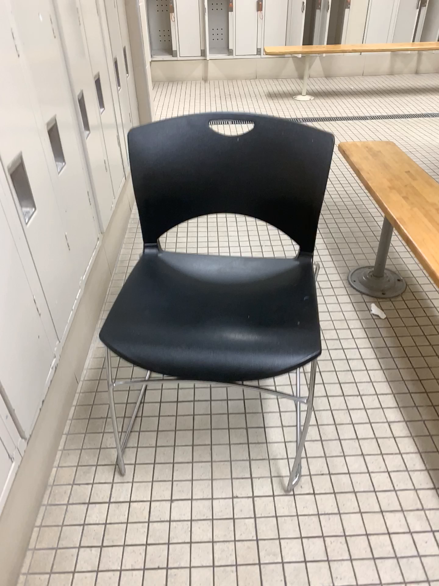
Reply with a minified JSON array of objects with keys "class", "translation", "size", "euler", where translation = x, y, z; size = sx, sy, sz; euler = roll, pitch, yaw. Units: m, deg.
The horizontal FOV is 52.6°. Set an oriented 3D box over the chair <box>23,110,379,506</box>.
[{"class":"chair","translation":[0.011,-0.010,1.015],"size":[0.475,0.630,0.616],"euler":[3,35,7]}]
